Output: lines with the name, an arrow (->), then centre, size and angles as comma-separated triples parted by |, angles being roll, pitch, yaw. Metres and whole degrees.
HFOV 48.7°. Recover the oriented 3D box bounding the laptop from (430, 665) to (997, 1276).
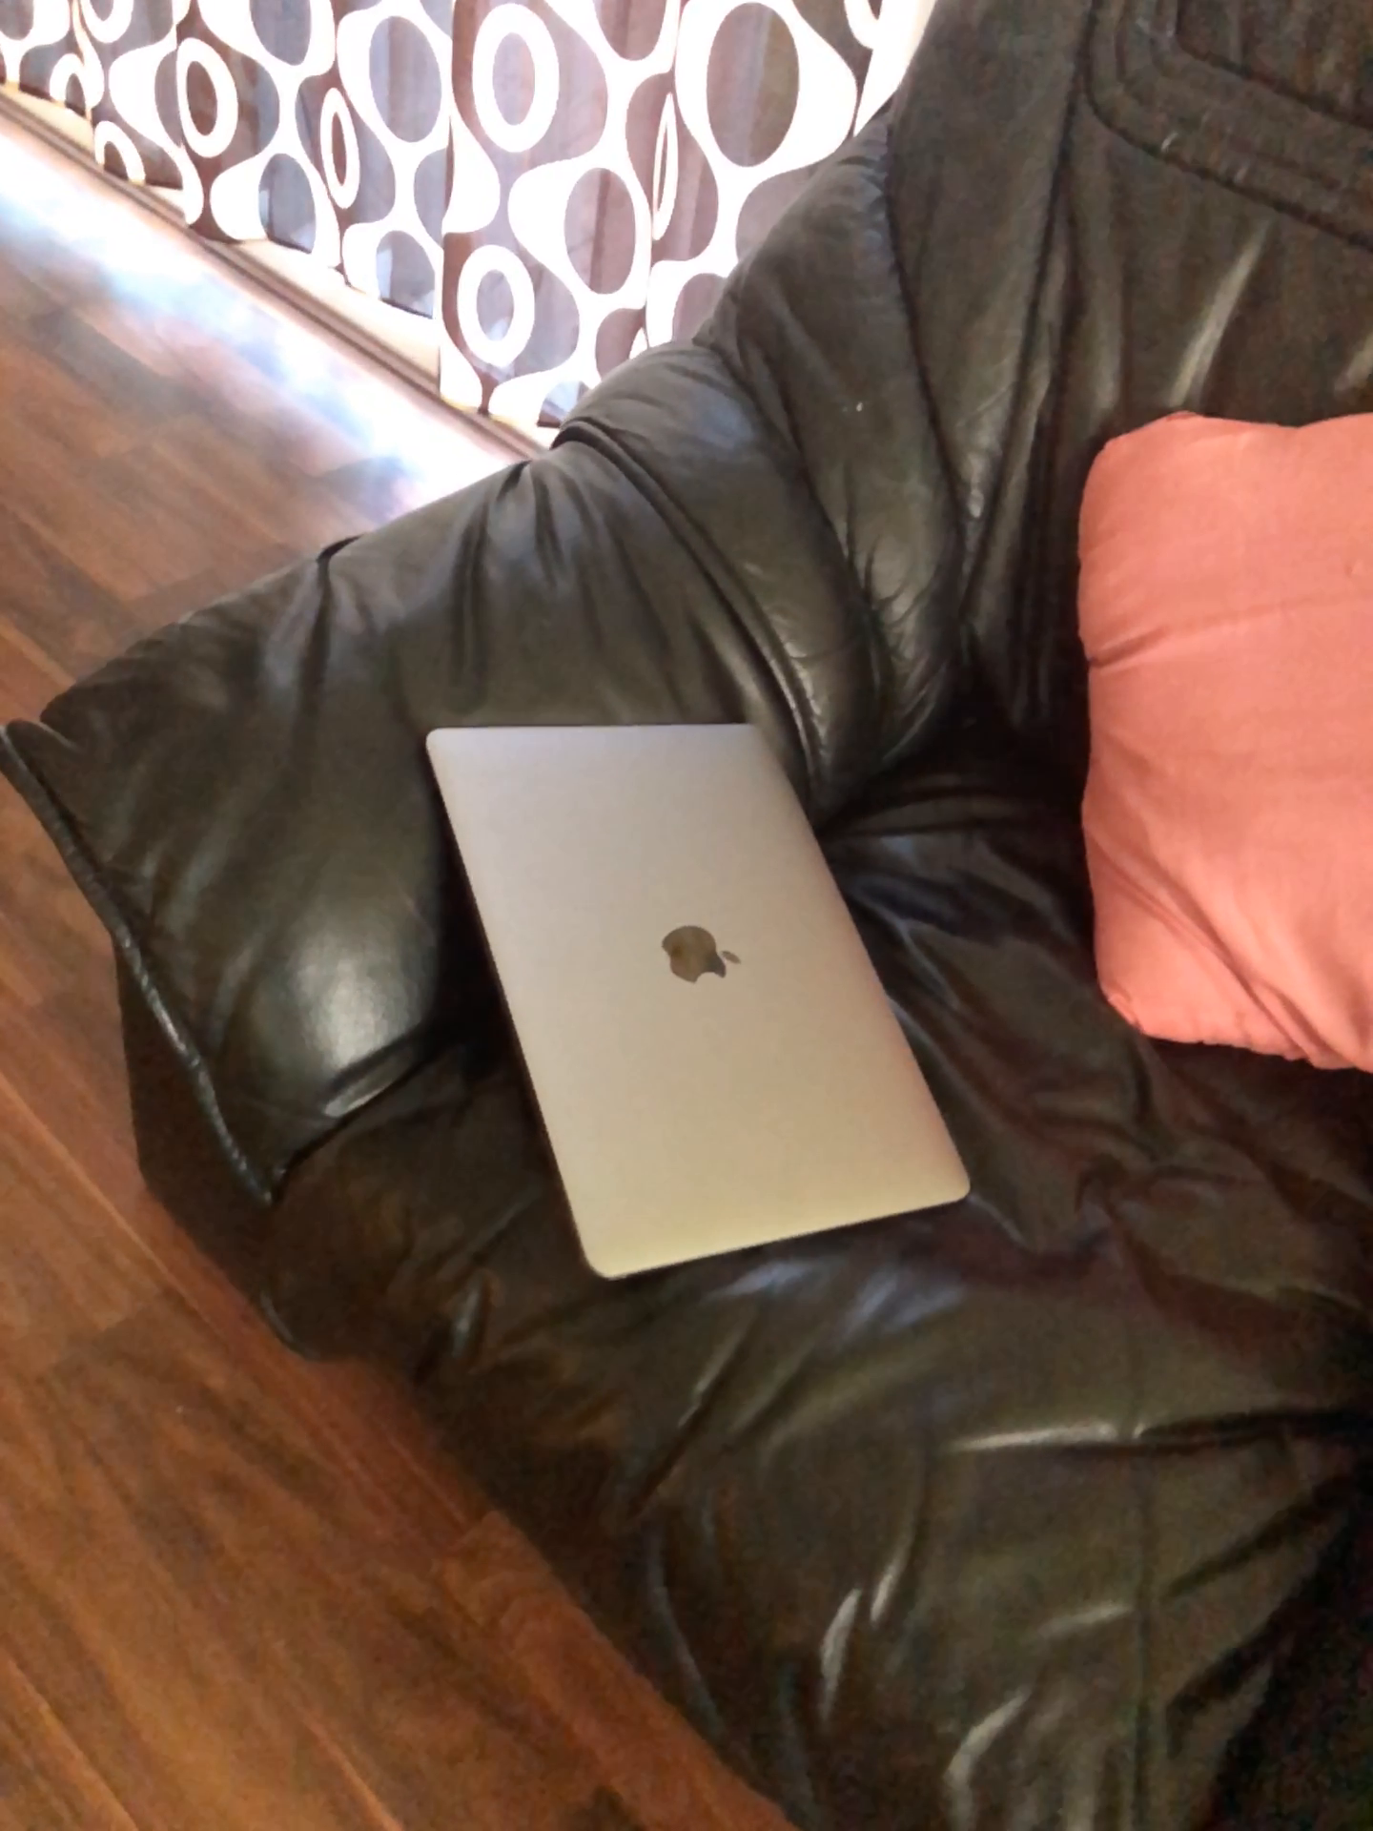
laptop -> 0.007, 0.006, 0.666 | 0.185, 0.036, 0.265 | -4, 58, -31
